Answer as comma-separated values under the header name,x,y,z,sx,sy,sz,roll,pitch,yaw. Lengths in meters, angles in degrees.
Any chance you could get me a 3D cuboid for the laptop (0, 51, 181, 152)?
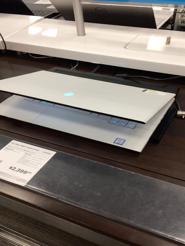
name,x,y,z,sx,sy,sz,roll,pitch,yaw
laptop,-0.023,-0.071,0.577,0.366,0.086,0.209,16,45,22
